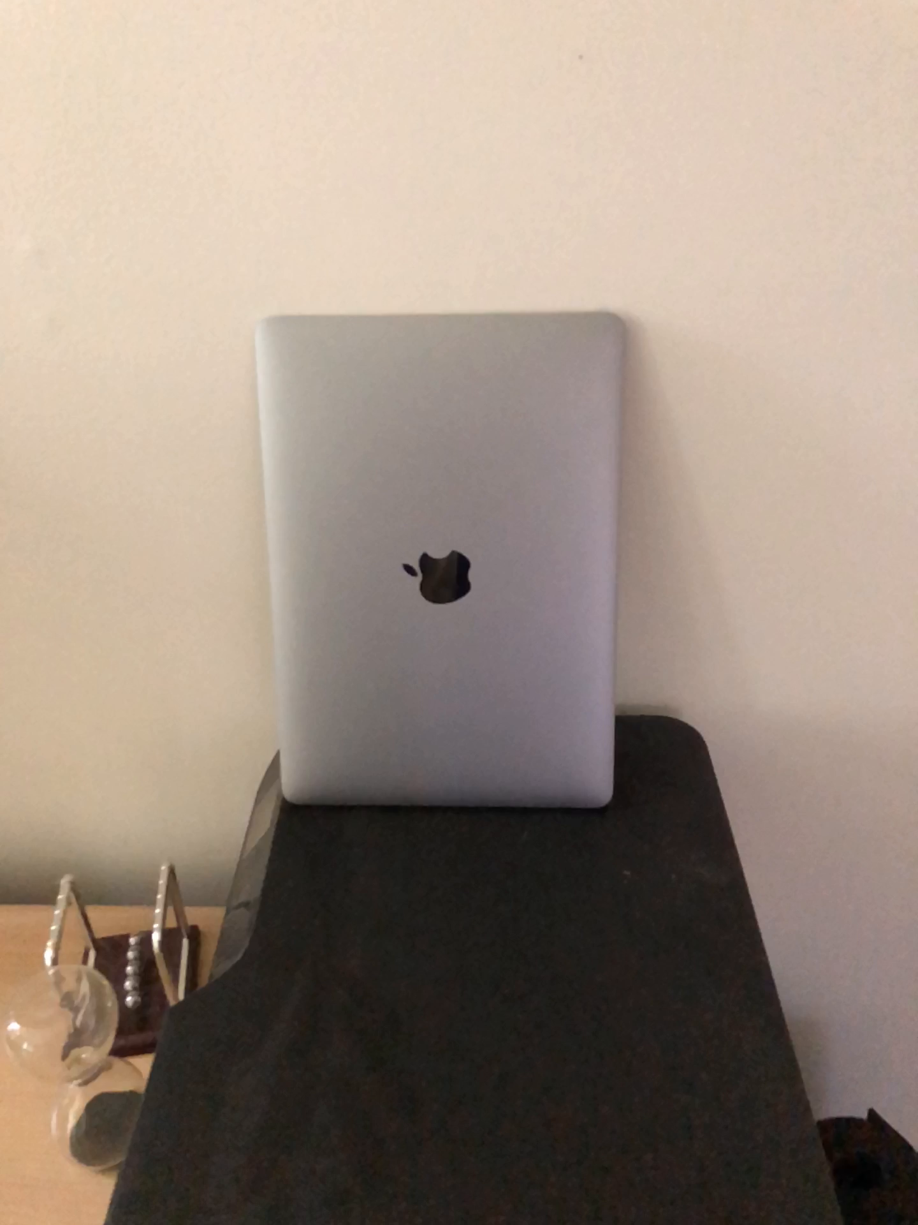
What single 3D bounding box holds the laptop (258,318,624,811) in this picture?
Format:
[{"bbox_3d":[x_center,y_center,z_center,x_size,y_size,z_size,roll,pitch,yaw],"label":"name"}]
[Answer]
[{"bbox_3d":[-0.010,-0.019,0.566,0.196,0.274,0.002,0,13,3],"label":"laptop"}]
